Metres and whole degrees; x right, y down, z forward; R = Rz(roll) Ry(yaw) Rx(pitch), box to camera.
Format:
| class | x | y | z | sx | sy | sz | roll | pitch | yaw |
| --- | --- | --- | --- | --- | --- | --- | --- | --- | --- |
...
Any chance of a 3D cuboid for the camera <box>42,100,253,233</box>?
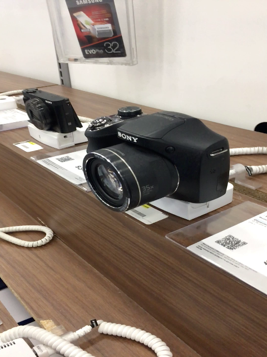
| class | x | y | z | sx | sy | sz | roll | pitch | yaw |
| --- | --- | --- | --- | --- | --- | --- | --- | --- | --- |
| camera | 0.010 | -0.021 | 0.338 | 0.118 | 0.072 | 0.132 | -23 | 34 | -34 |
